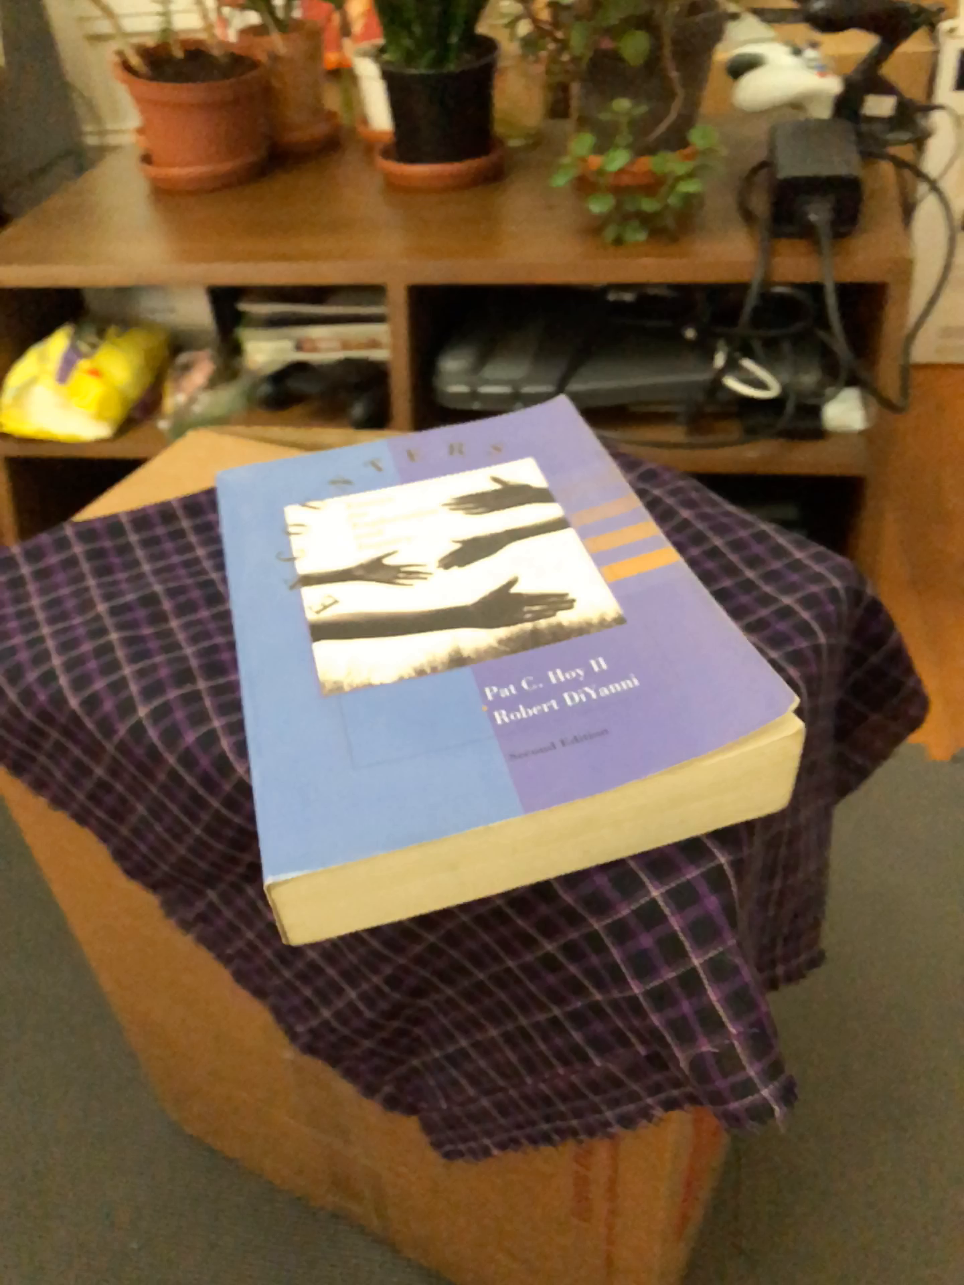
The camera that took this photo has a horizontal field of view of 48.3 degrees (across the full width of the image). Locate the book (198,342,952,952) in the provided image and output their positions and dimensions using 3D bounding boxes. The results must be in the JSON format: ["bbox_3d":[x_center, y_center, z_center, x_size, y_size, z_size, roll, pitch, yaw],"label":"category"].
[{"bbox_3d":[0.006,-0.028,0.405,0.200,0.040,0.261,-13,39,-9],"label":"book"}]
